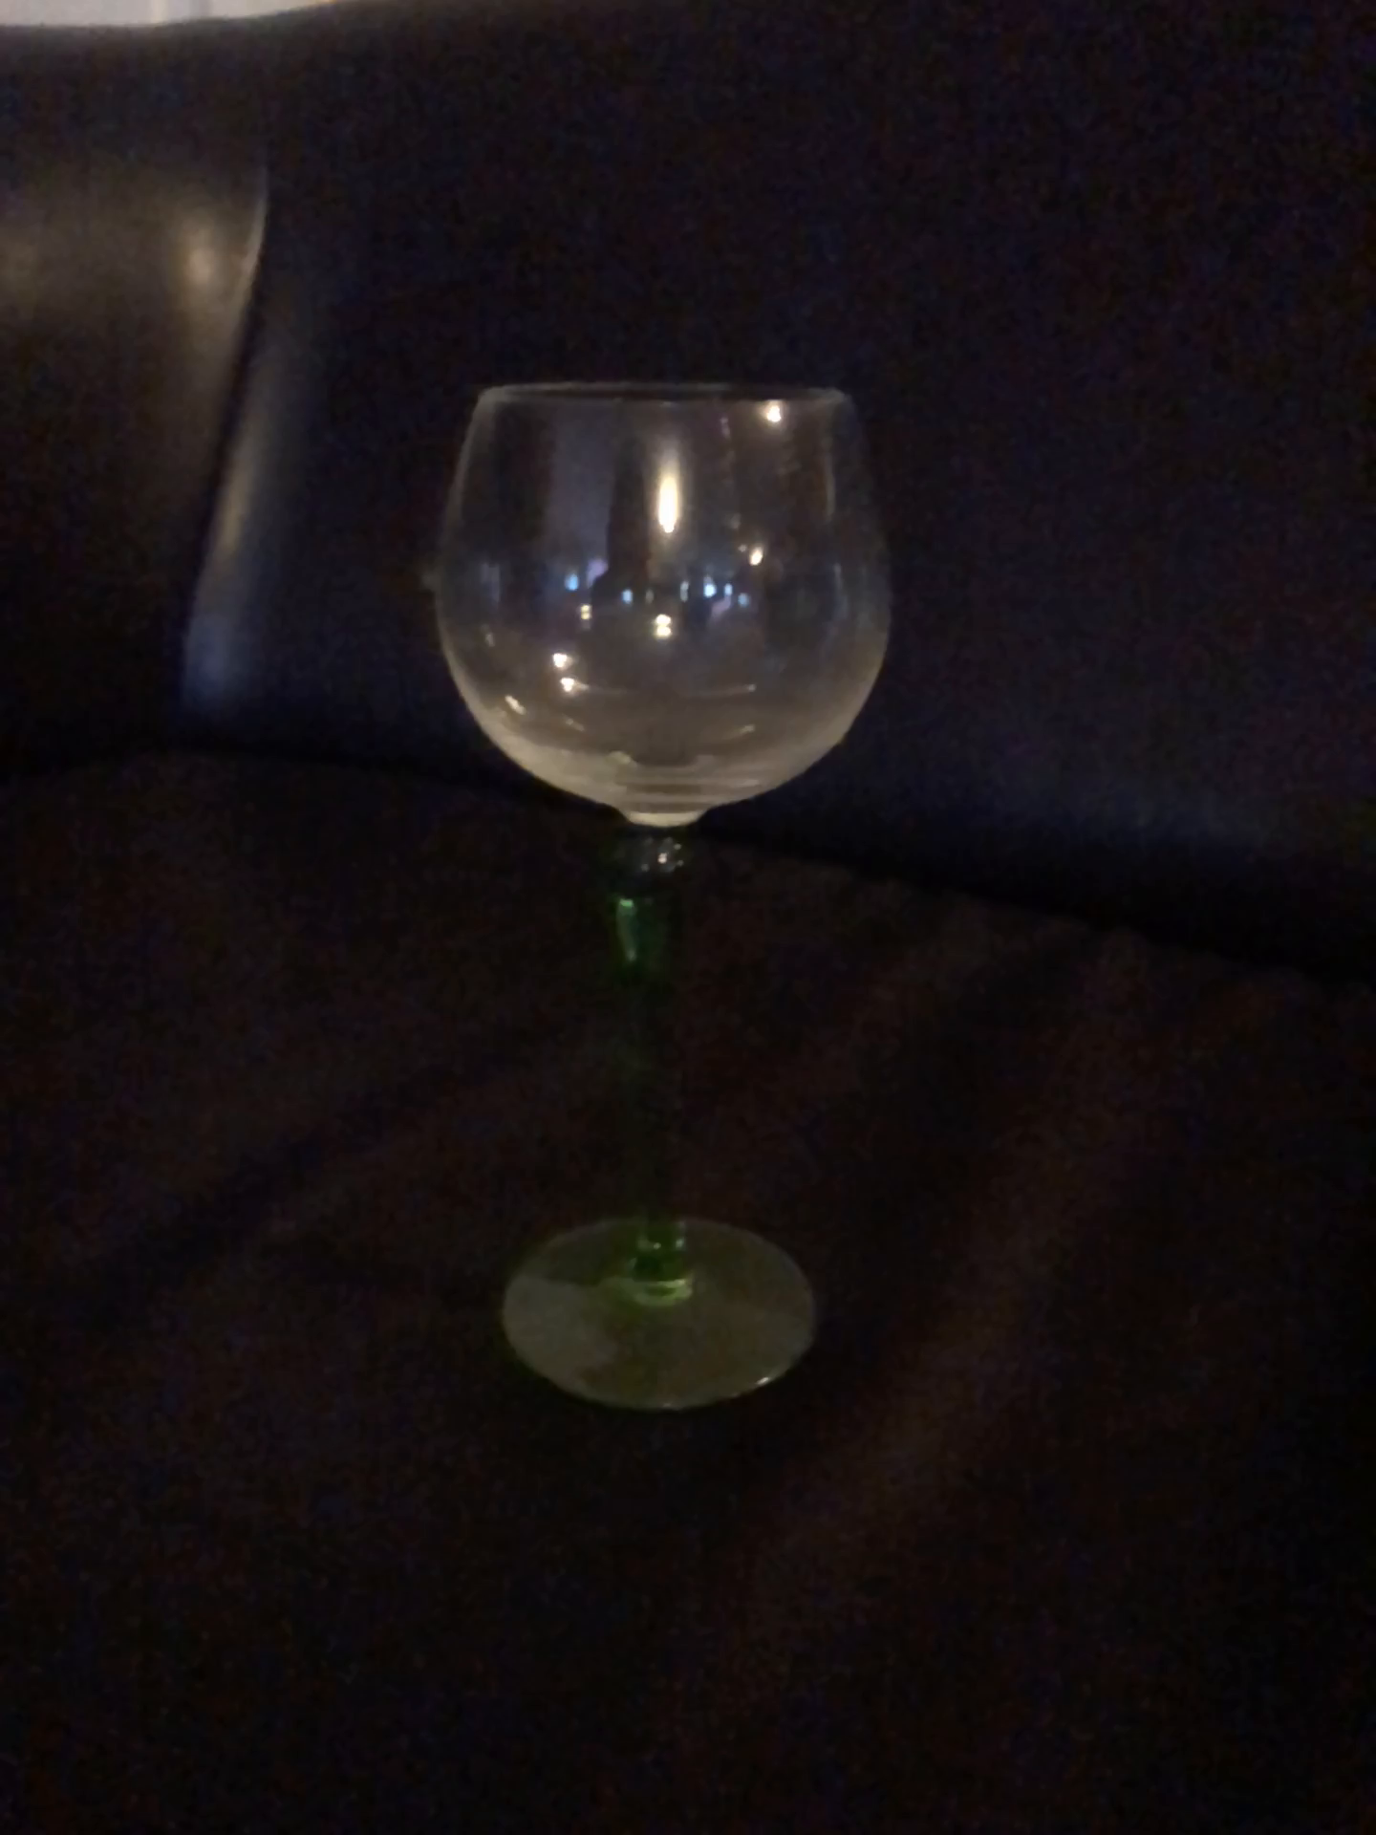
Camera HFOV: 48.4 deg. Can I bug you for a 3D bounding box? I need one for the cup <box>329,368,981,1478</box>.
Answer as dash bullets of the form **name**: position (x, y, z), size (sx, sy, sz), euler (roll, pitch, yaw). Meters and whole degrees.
- **cup**: position (-0.005, -0.007, 0.295), size (0.080, 0.185, 0.080), euler (0, 19, 0)
